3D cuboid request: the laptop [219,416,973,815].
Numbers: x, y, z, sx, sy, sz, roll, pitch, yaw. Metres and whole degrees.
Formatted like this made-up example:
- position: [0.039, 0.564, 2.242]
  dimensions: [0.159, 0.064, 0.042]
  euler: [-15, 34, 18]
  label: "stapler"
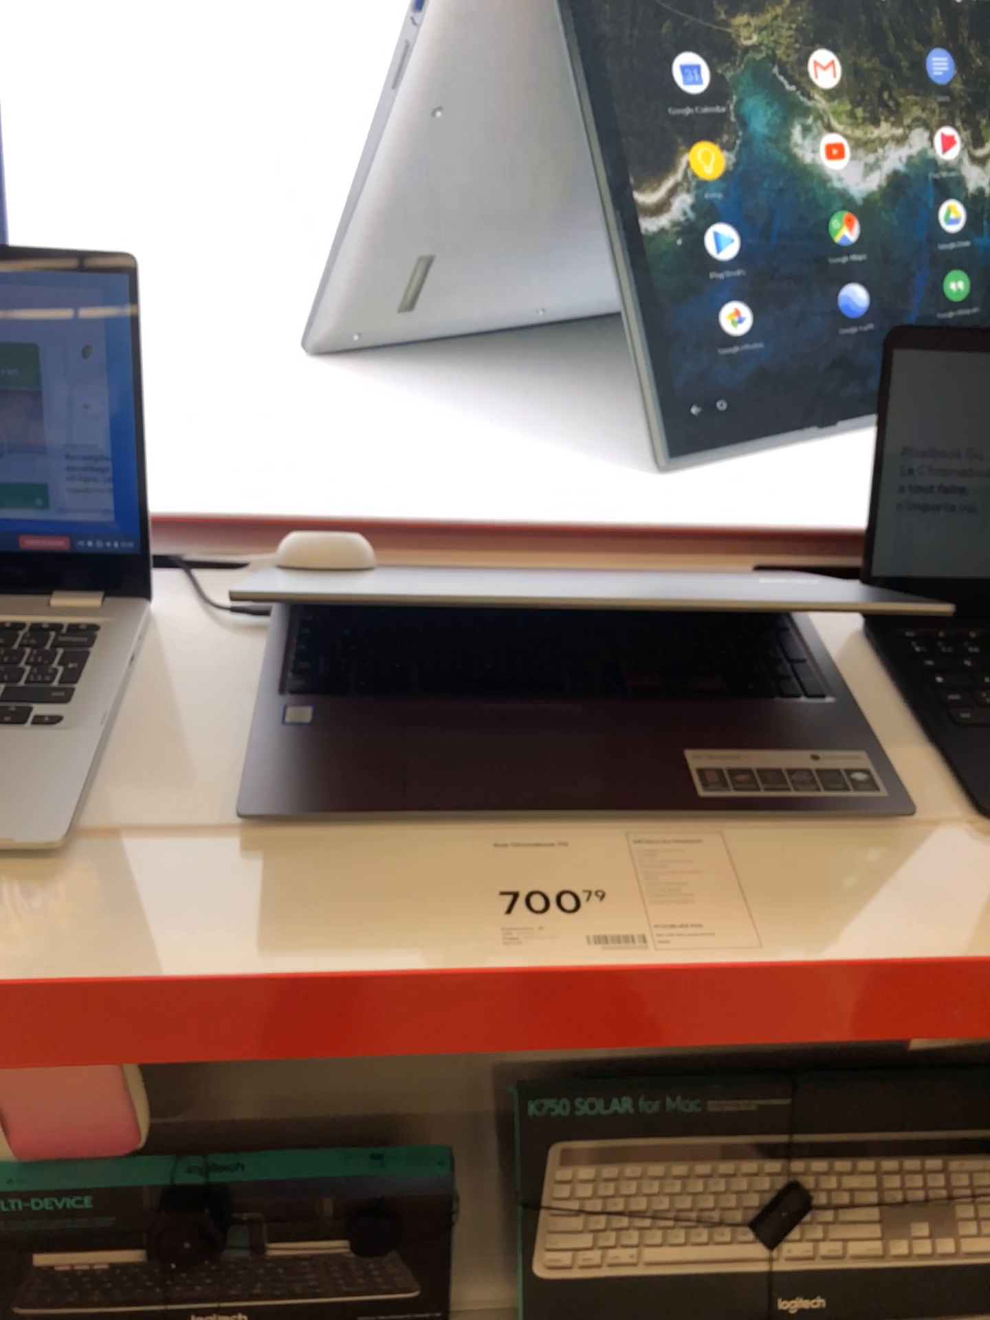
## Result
- position: [0.045, -0.037, 0.652]
  dimensions: [0.368, 0.109, 0.245]
  euler: [1, 35, -8]
  label: "laptop"
